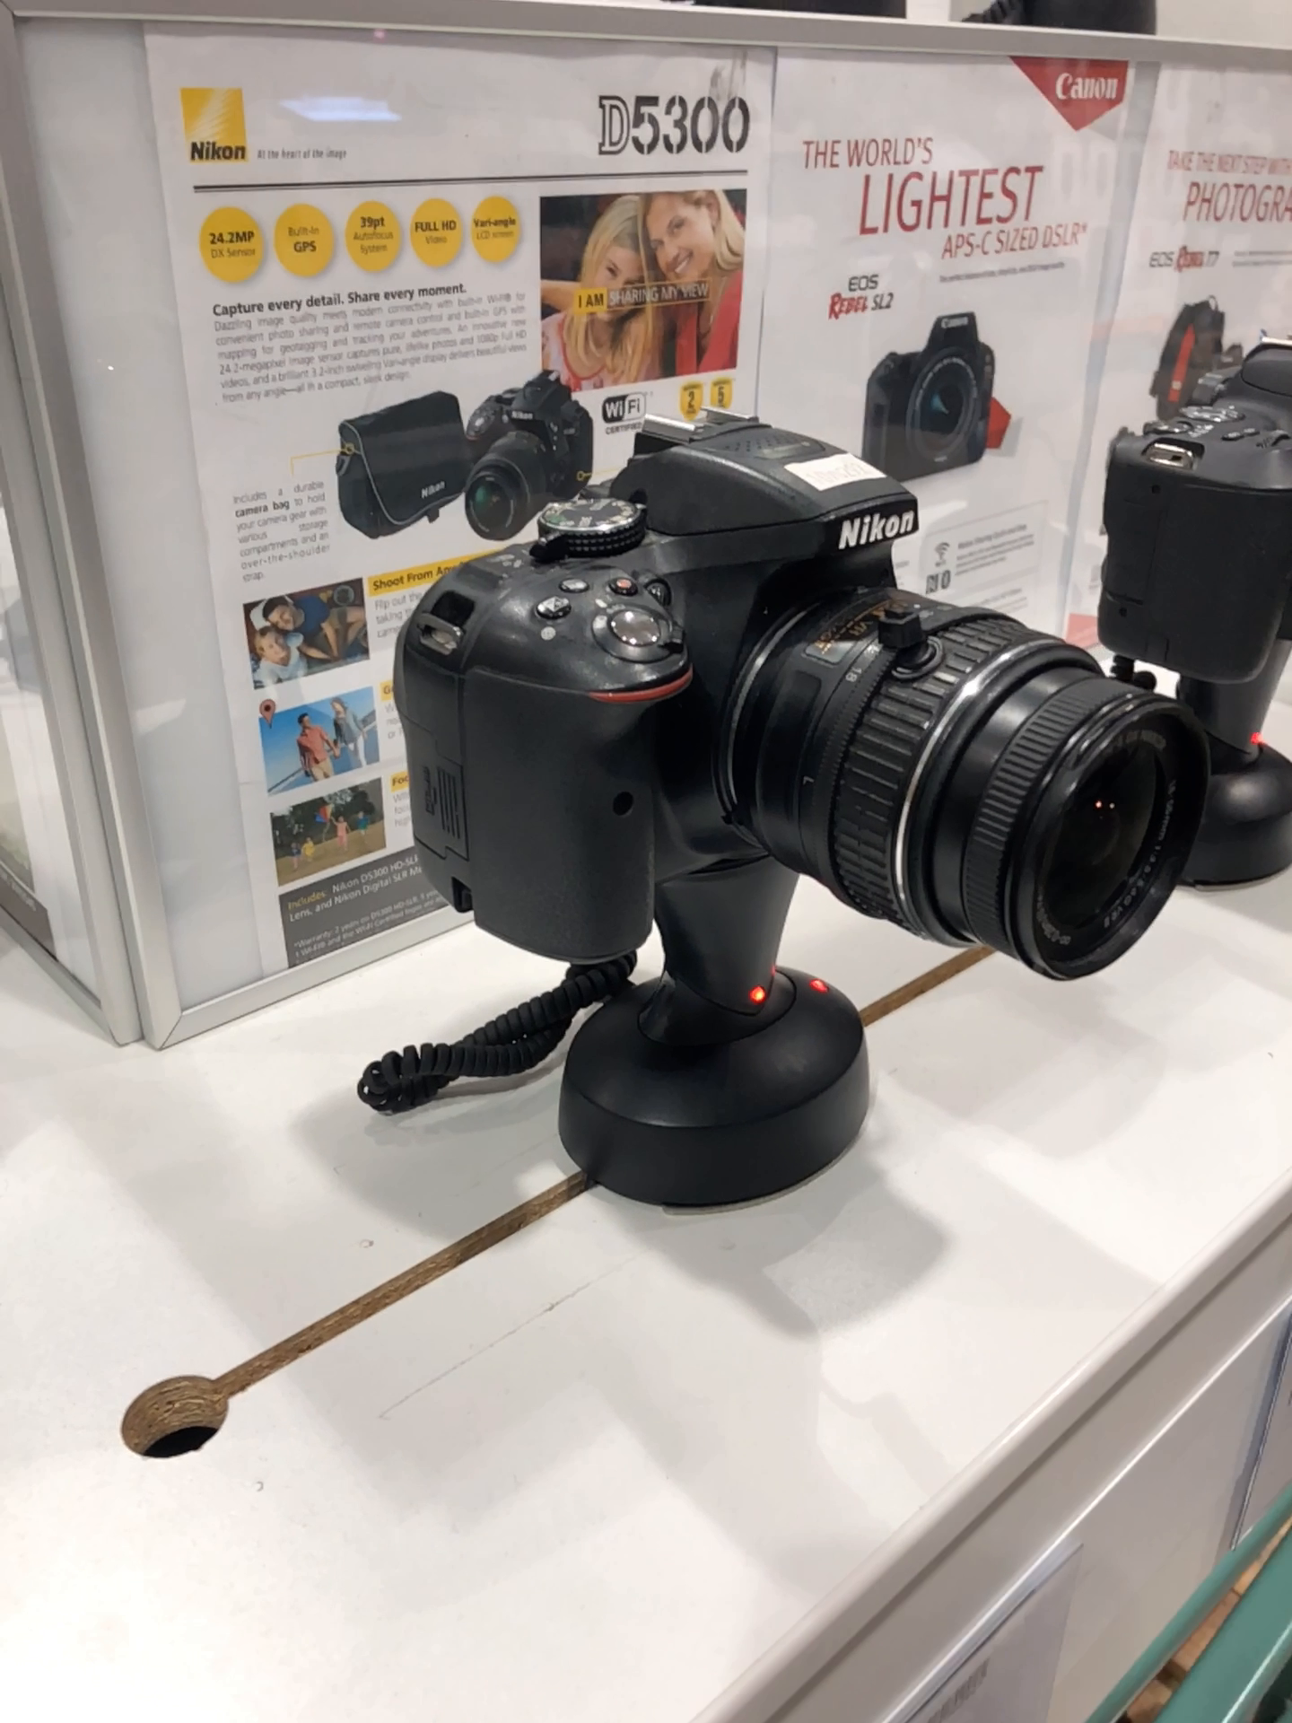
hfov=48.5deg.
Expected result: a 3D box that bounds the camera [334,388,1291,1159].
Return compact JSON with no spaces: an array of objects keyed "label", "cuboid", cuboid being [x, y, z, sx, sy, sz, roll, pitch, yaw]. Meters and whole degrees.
[{"label":"camera","cuboid":[0.034,-0.036,0.297,0.130,0.090,0.140,-24,35,-38]}]
